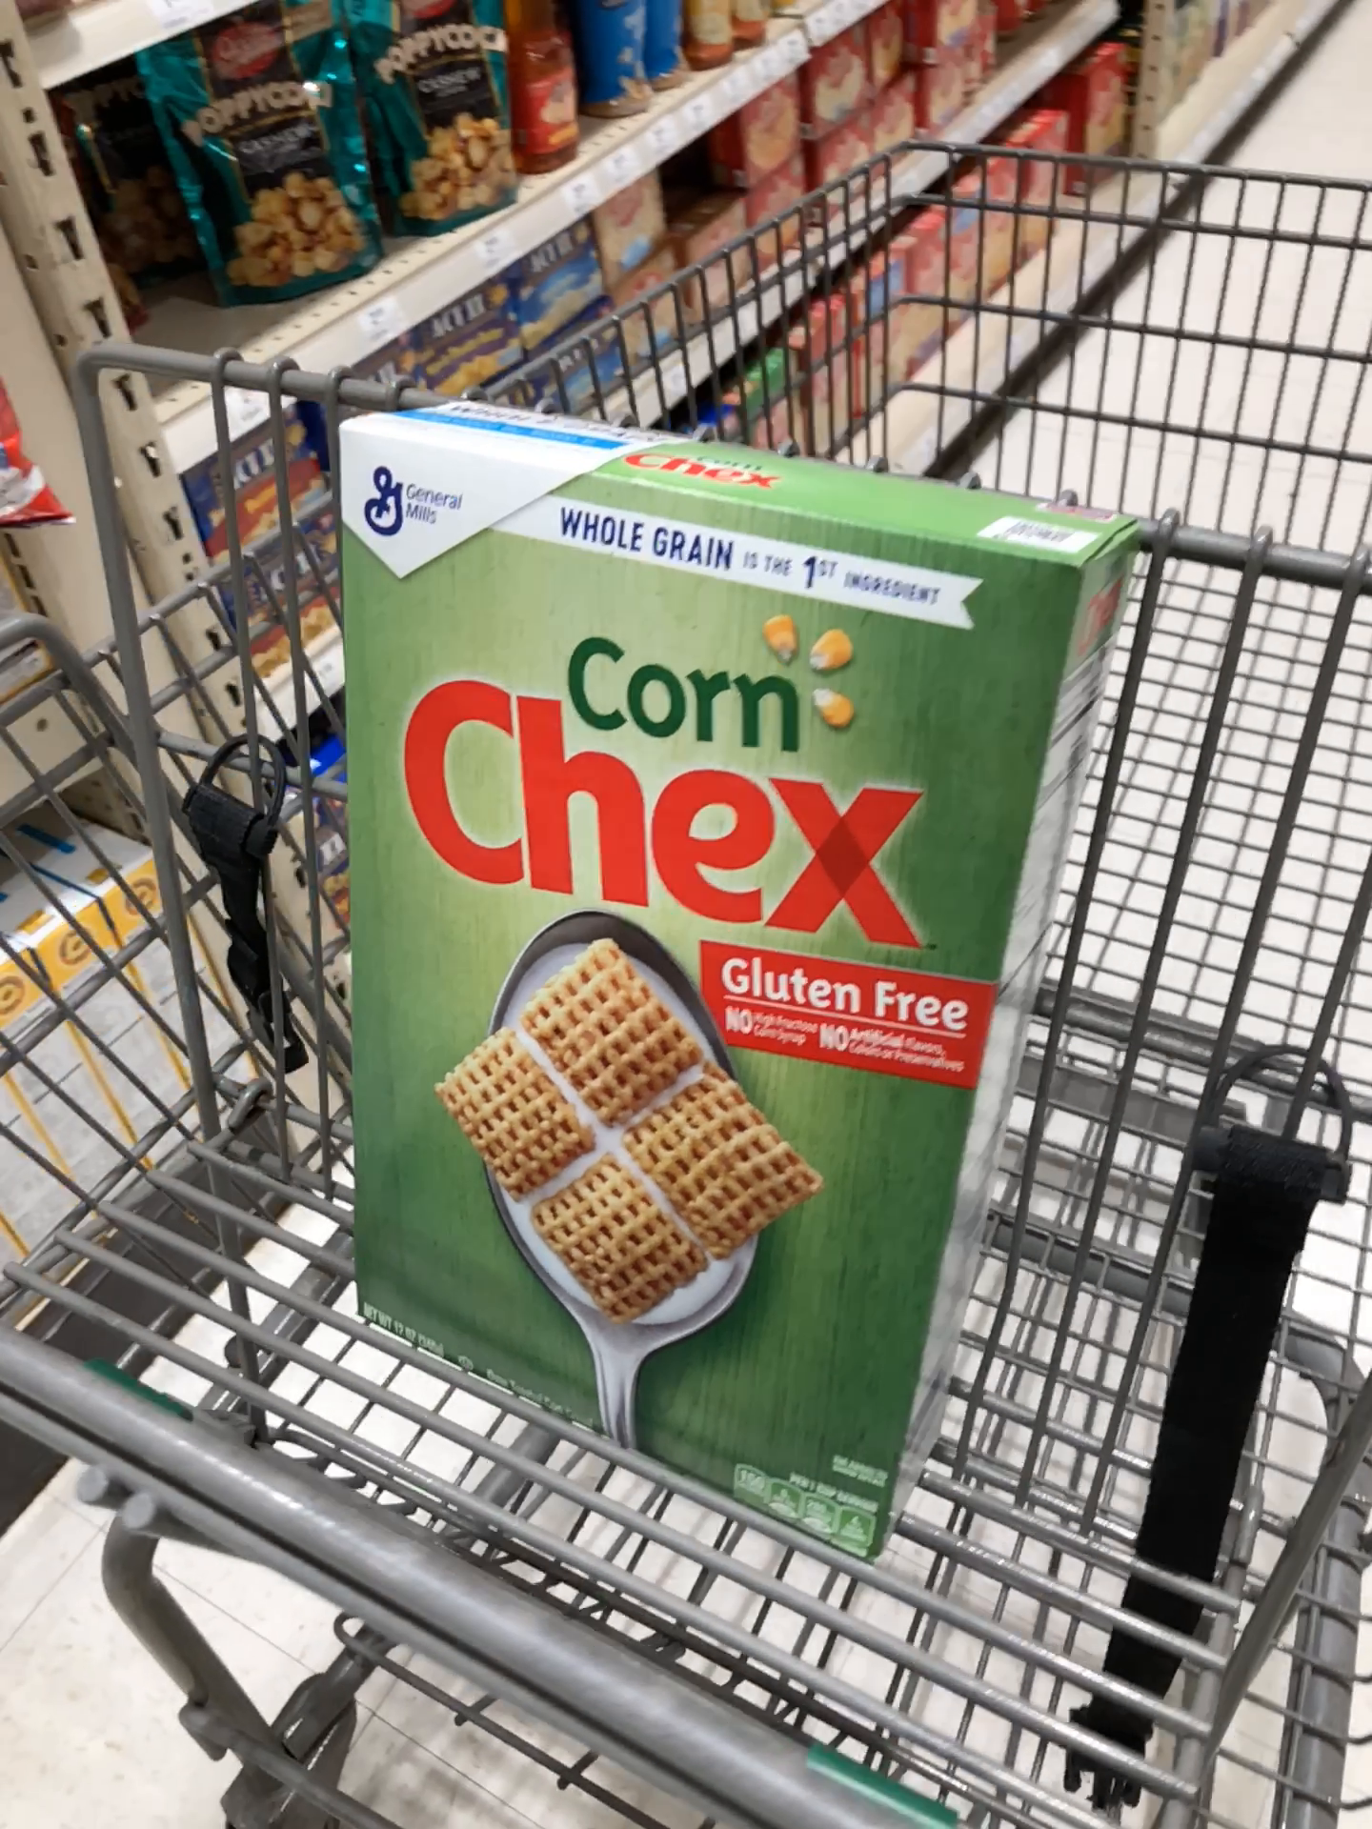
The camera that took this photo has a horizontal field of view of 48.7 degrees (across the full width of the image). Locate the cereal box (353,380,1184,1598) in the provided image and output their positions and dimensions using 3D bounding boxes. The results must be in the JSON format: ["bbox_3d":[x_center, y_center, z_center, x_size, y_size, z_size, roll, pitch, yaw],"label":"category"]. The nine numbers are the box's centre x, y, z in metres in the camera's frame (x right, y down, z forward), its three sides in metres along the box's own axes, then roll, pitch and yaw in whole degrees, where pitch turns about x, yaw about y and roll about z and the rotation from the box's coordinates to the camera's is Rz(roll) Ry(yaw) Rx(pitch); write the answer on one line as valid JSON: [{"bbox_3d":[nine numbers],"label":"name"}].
[{"bbox_3d":[0.002,0.022,0.441,0.200,0.310,0.060,18,28,24],"label":"cereal box"}]
